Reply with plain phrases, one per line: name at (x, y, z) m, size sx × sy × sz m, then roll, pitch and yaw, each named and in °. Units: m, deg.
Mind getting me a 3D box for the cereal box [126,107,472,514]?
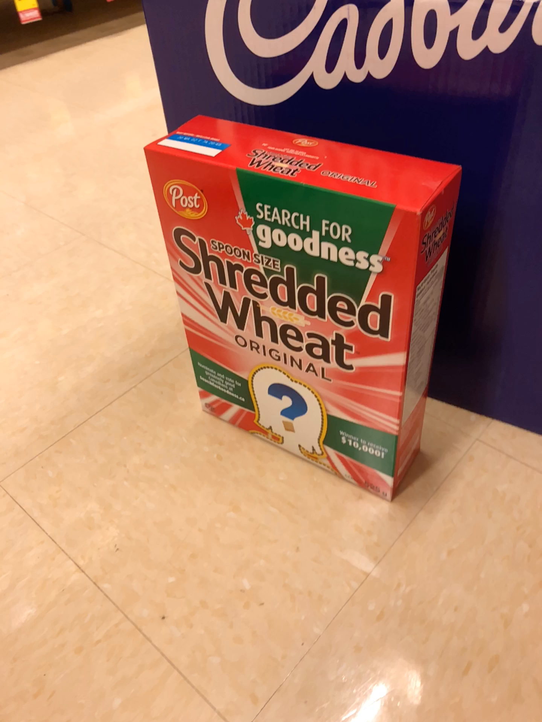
cereal box at (0.020, -0.032, 0.460) m, size 0.211 × 0.268 × 0.070 m, roll 22°, pitch 49°, yaw 28°
